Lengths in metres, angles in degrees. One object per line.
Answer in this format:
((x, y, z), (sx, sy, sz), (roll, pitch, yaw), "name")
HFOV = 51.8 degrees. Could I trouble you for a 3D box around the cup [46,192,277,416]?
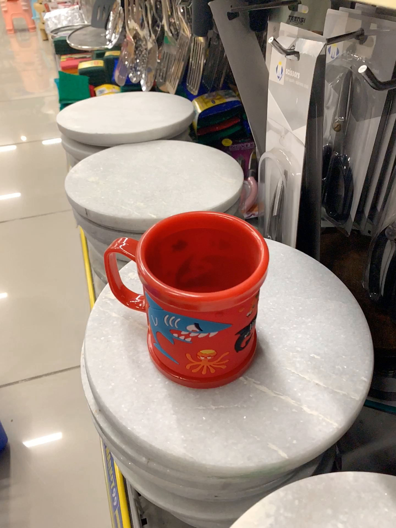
((-0.019, 0.023, 0.284), (0.120, 0.100, 0.080), (14, 42, 19), "cup")
